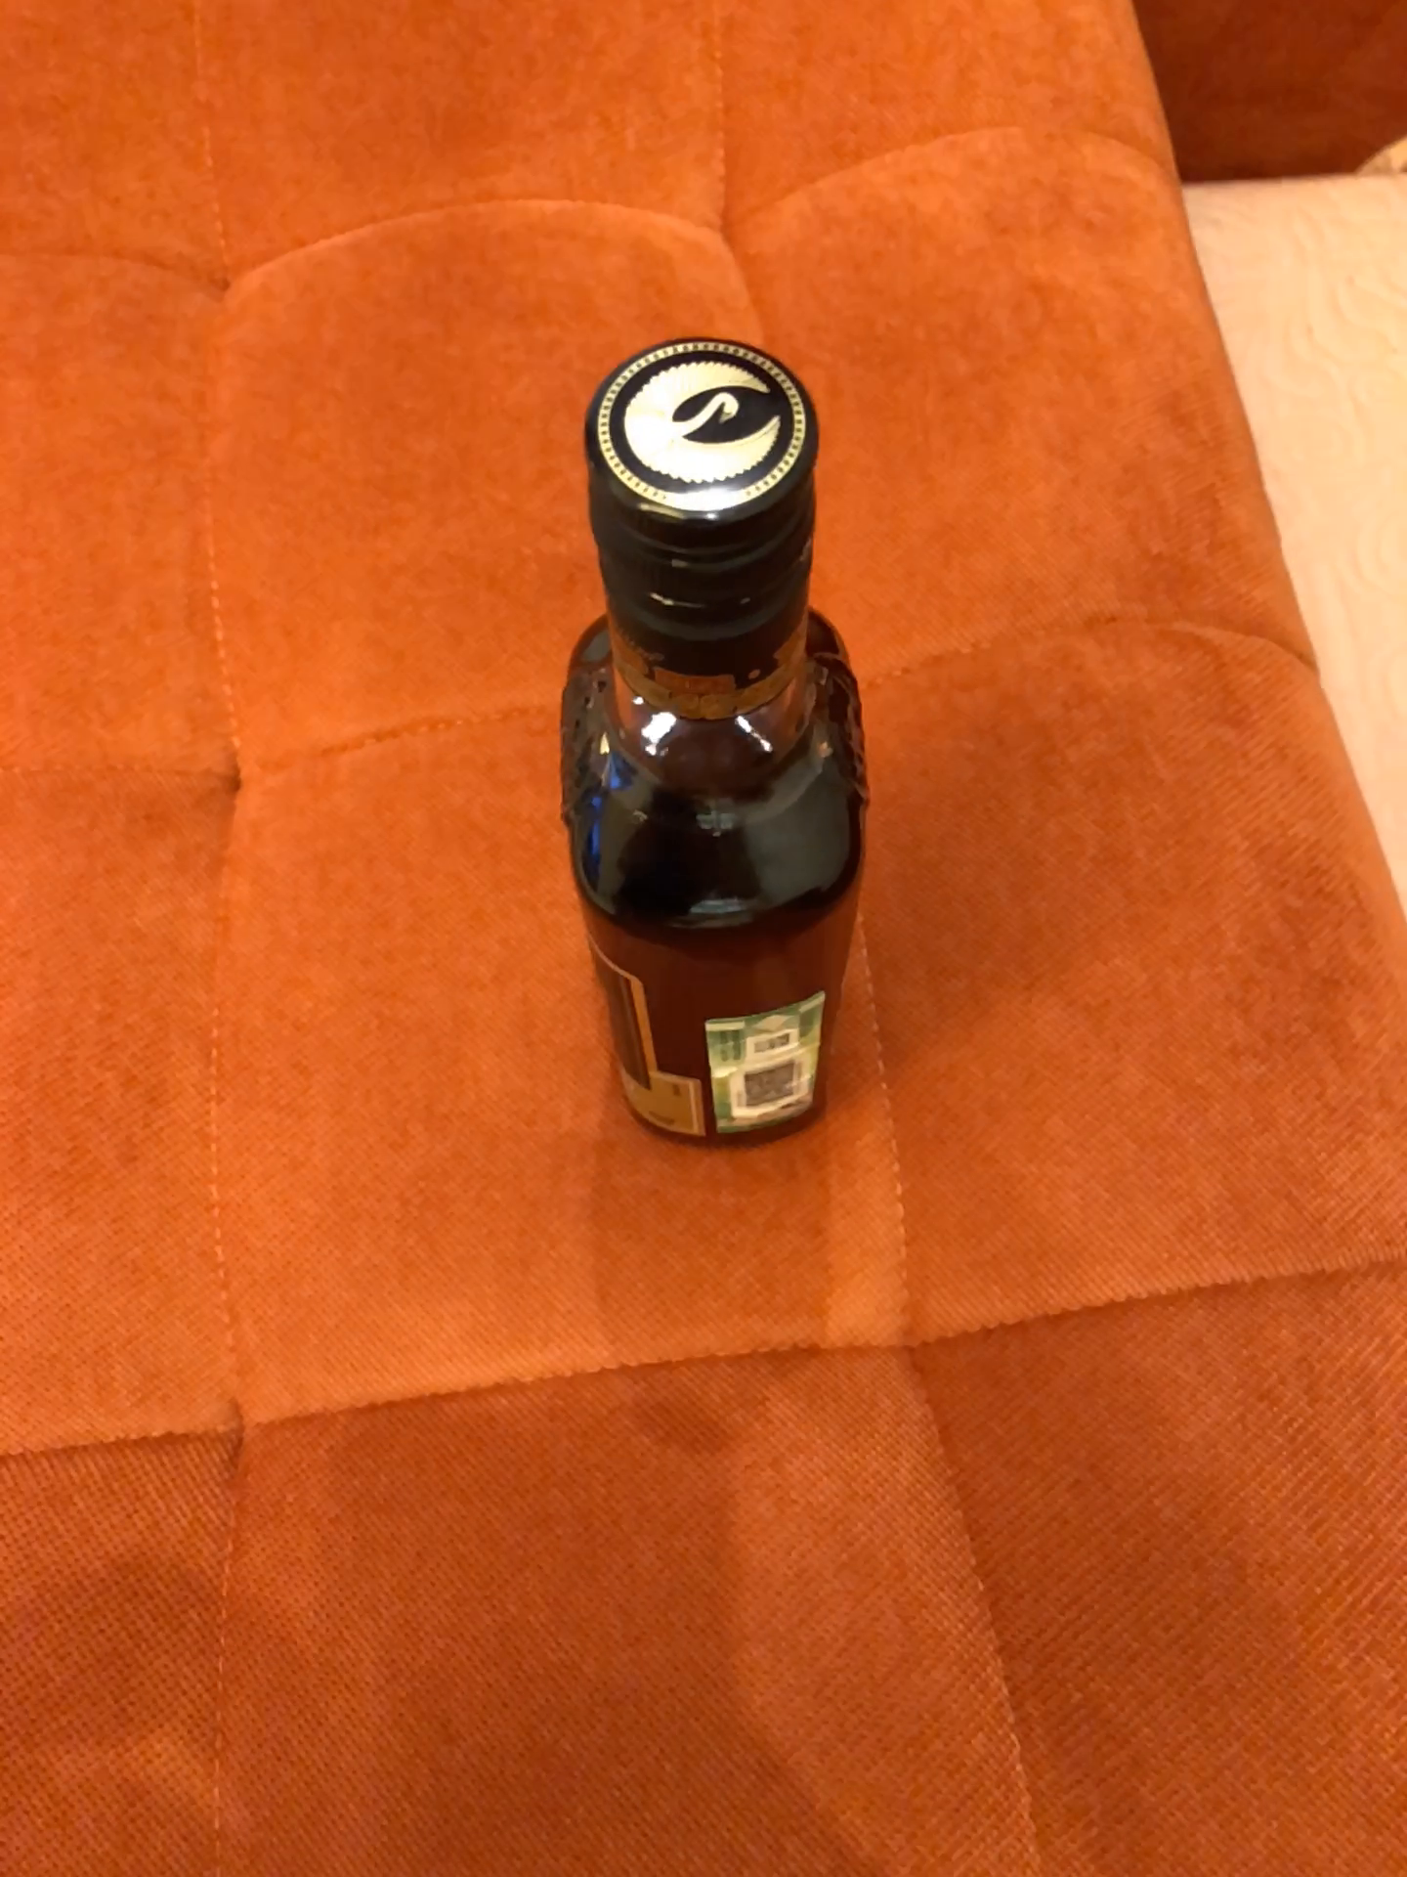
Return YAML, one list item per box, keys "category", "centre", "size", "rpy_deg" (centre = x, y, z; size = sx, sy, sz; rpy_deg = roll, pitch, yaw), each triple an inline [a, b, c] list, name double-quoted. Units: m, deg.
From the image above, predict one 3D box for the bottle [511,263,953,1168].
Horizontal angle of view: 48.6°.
- category: "bottle"
  centre: [0.004, -0.018, 0.322]
  size: [0.056, 0.238, 0.074]
  rpy_deg: [-3, 68, 0]
